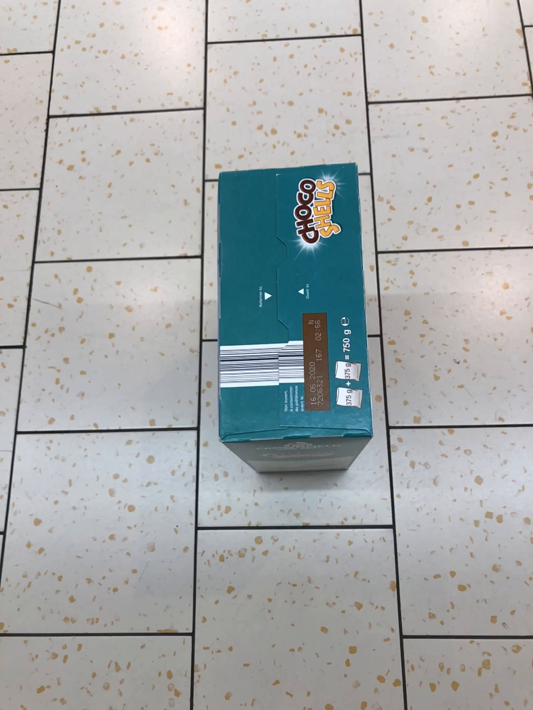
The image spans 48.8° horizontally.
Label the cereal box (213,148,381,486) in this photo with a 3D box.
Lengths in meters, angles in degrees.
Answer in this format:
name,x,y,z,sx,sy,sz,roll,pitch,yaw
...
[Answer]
name,x,y,z,sx,sy,sz,roll,pitch,yaw
cereal box,0.024,-0.003,0.508,0.100,0.270,0.210,-2,74,3
